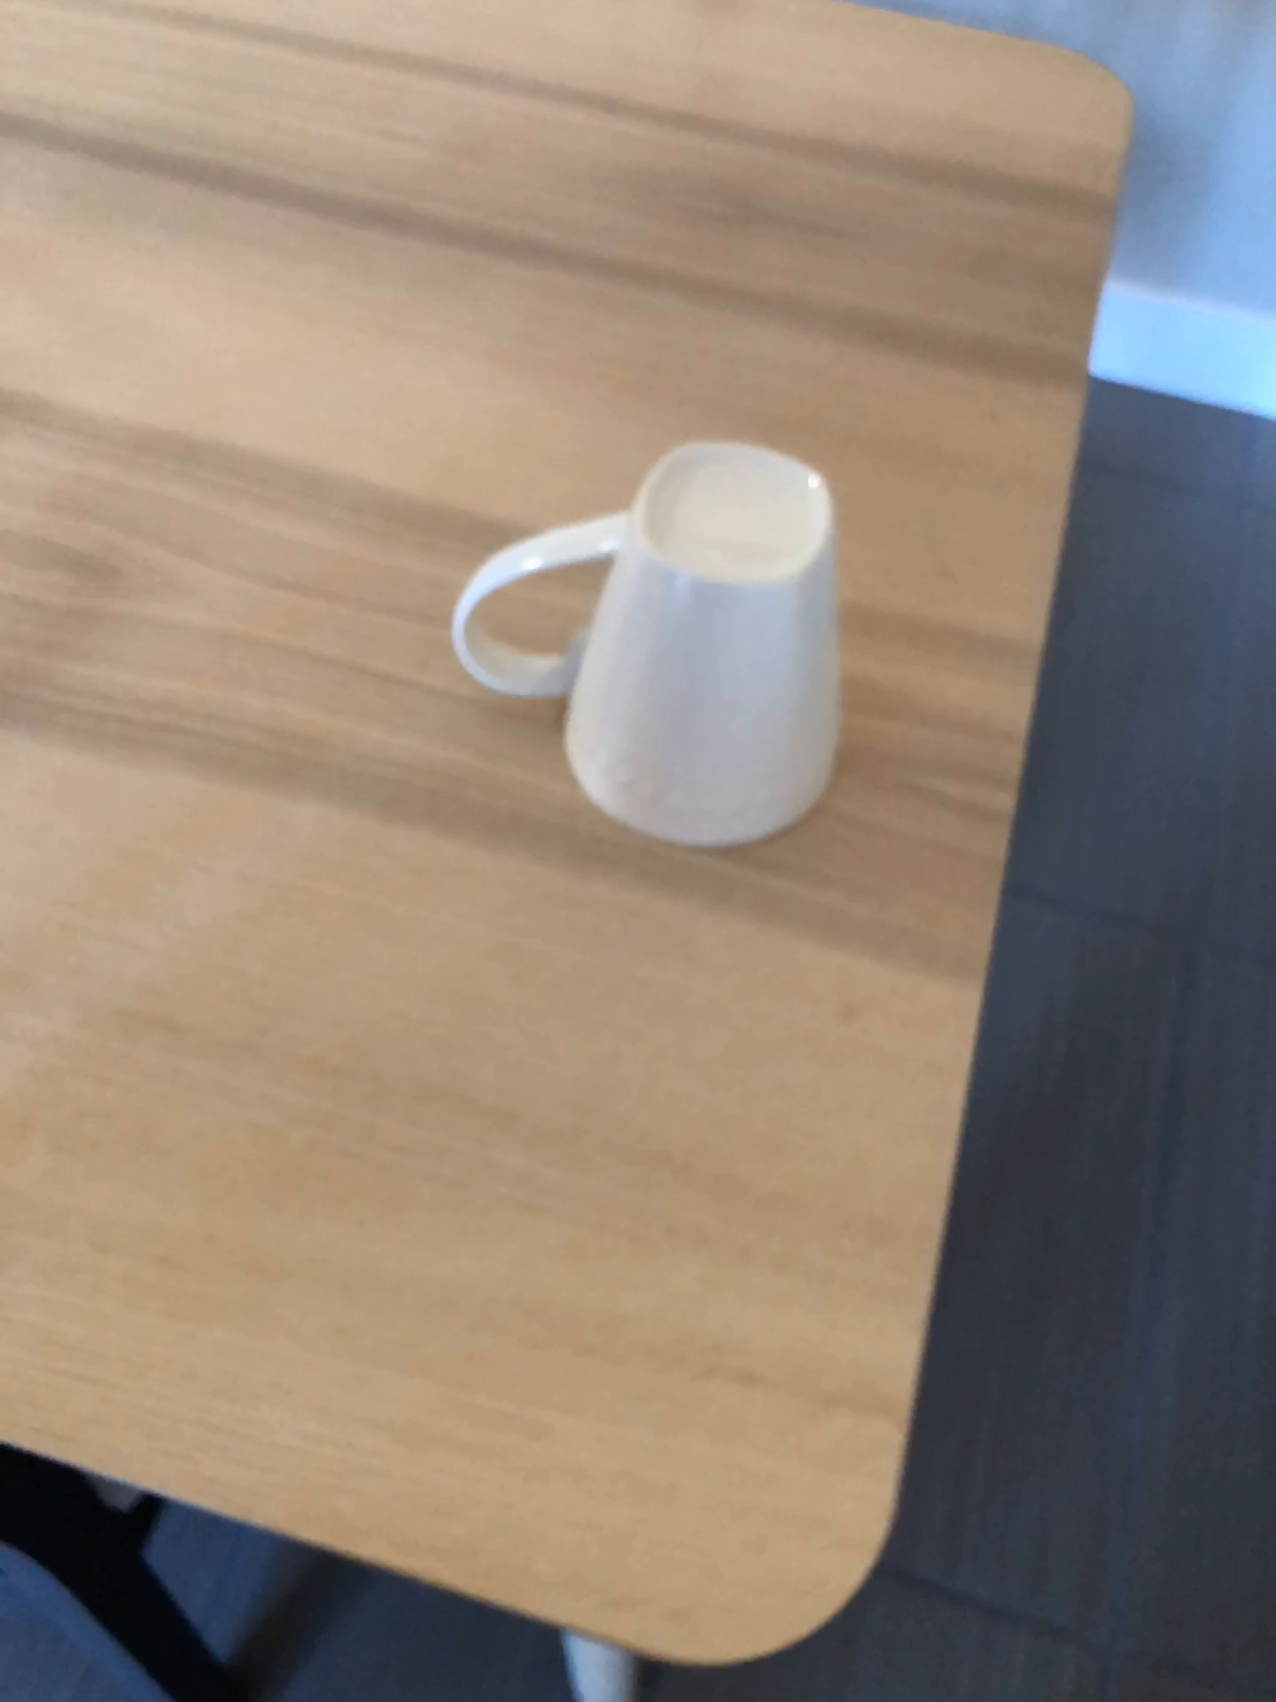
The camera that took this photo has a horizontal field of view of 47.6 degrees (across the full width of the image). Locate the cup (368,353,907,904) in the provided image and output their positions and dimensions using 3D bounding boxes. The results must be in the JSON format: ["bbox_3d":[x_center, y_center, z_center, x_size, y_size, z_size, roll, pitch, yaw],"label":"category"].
[{"bbox_3d":[0.001,-0.067,0.462,0.140,0.120,0.100,9,57,2],"label":"cup"}]
